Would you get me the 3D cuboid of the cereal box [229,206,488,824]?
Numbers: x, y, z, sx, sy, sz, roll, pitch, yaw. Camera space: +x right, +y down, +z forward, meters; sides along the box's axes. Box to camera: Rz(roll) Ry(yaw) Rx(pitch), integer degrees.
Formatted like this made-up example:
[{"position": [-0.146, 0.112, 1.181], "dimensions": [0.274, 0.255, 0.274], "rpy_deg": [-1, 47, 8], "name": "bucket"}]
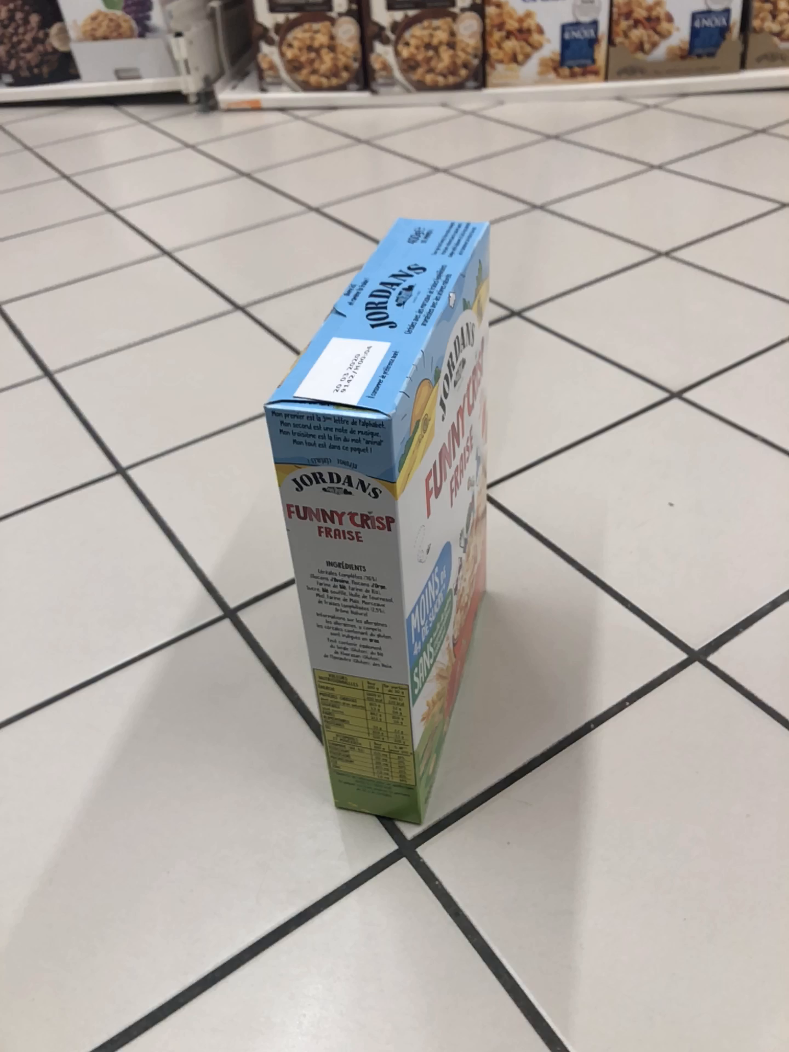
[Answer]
[{"position": [0.002, -0.005, 0.410], "dimensions": [0.050, 0.229, 0.171], "rpy_deg": [6, 40, 15], "name": "cereal box"}]
